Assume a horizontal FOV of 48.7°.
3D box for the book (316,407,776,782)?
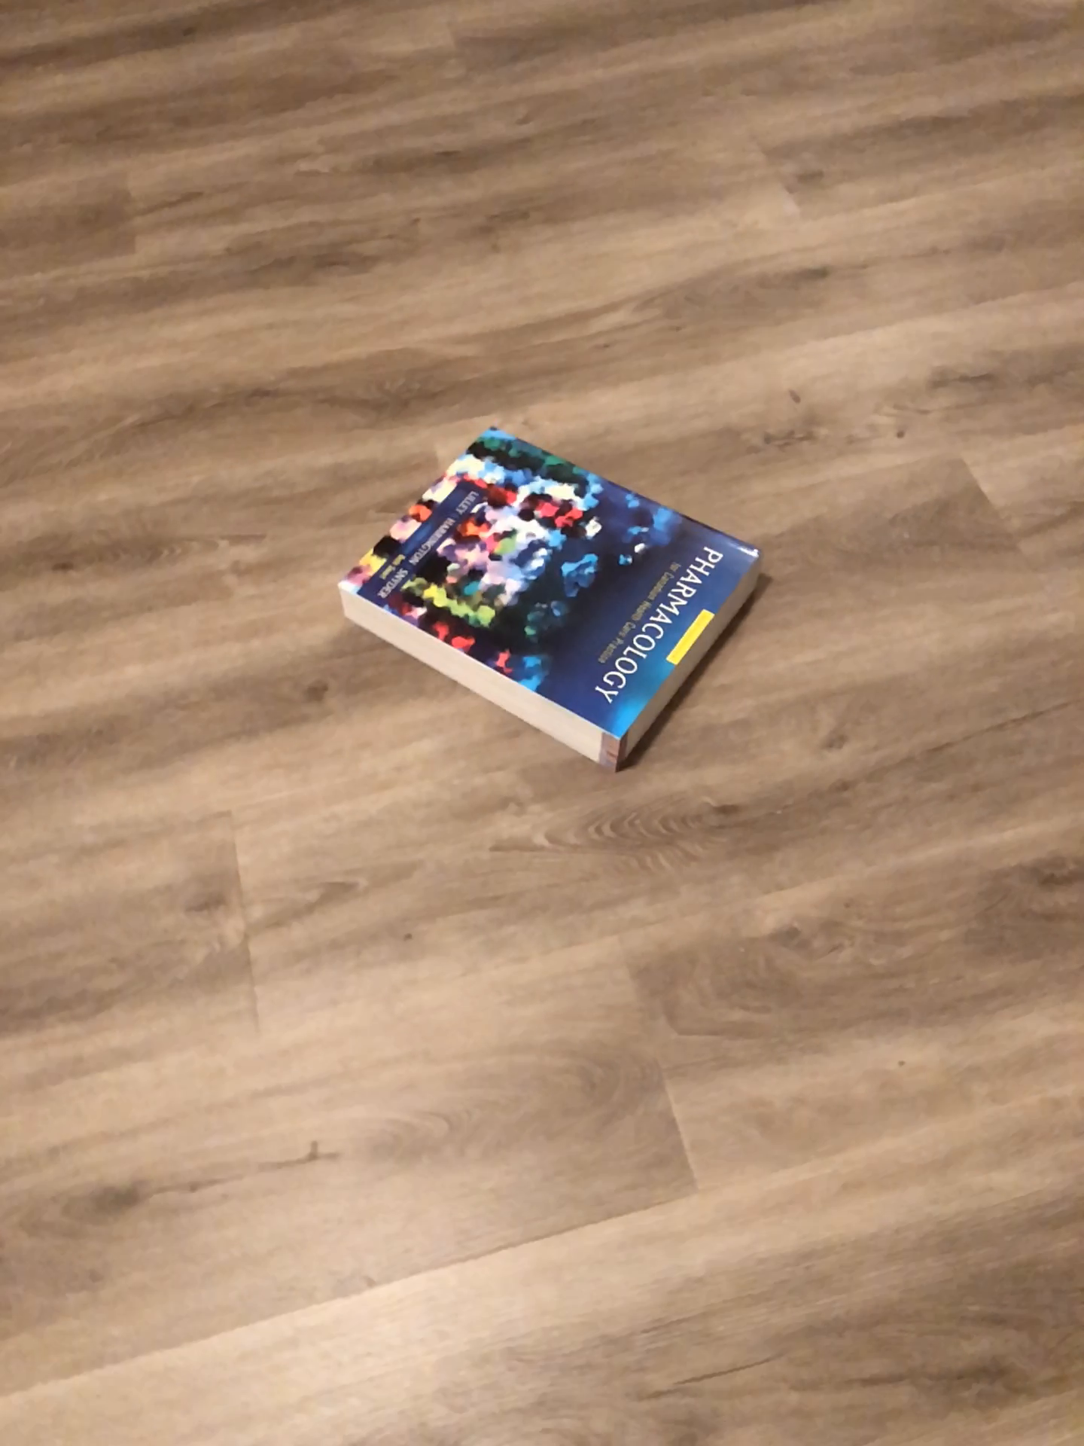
[{"bbox_3d":[0.004,-0.114,0.950,0.278,0.046,0.228,29,63,20],"label":"book"}]
